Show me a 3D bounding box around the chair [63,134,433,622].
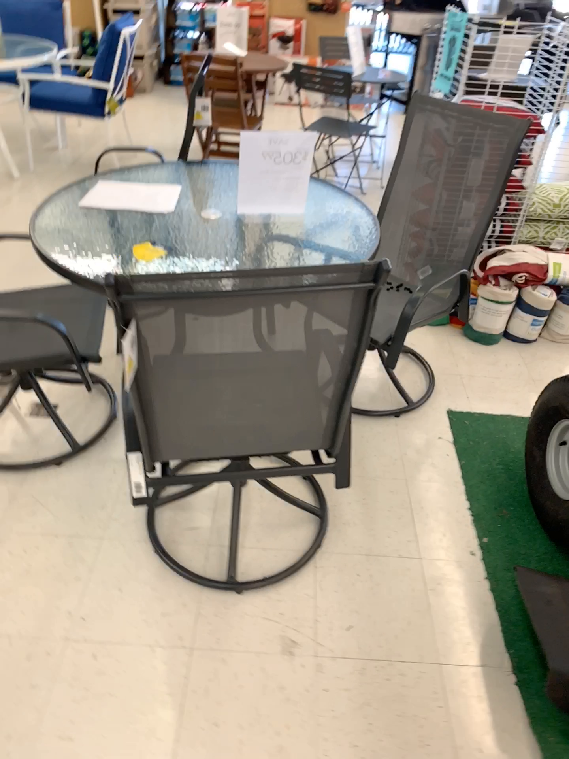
[{"bbox_3d":[-0.130,-0.006,1.449,0.580,0.975,0.643,-4,38,-11],"label":"chair"}]
